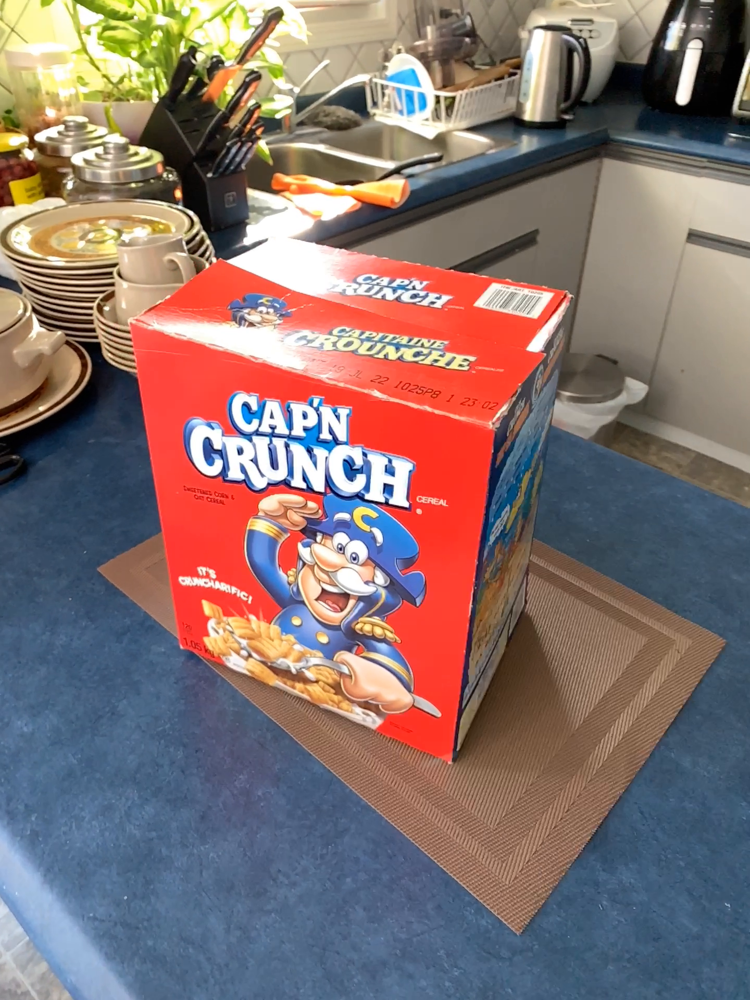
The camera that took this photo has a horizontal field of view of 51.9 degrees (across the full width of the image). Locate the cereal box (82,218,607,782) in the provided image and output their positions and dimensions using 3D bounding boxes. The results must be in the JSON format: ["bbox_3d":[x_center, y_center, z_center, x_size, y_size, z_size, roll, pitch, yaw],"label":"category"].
[{"bbox_3d":[-0.012,-0.014,0.583,0.270,0.297,0.212,17,39,21],"label":"cereal box"}]
